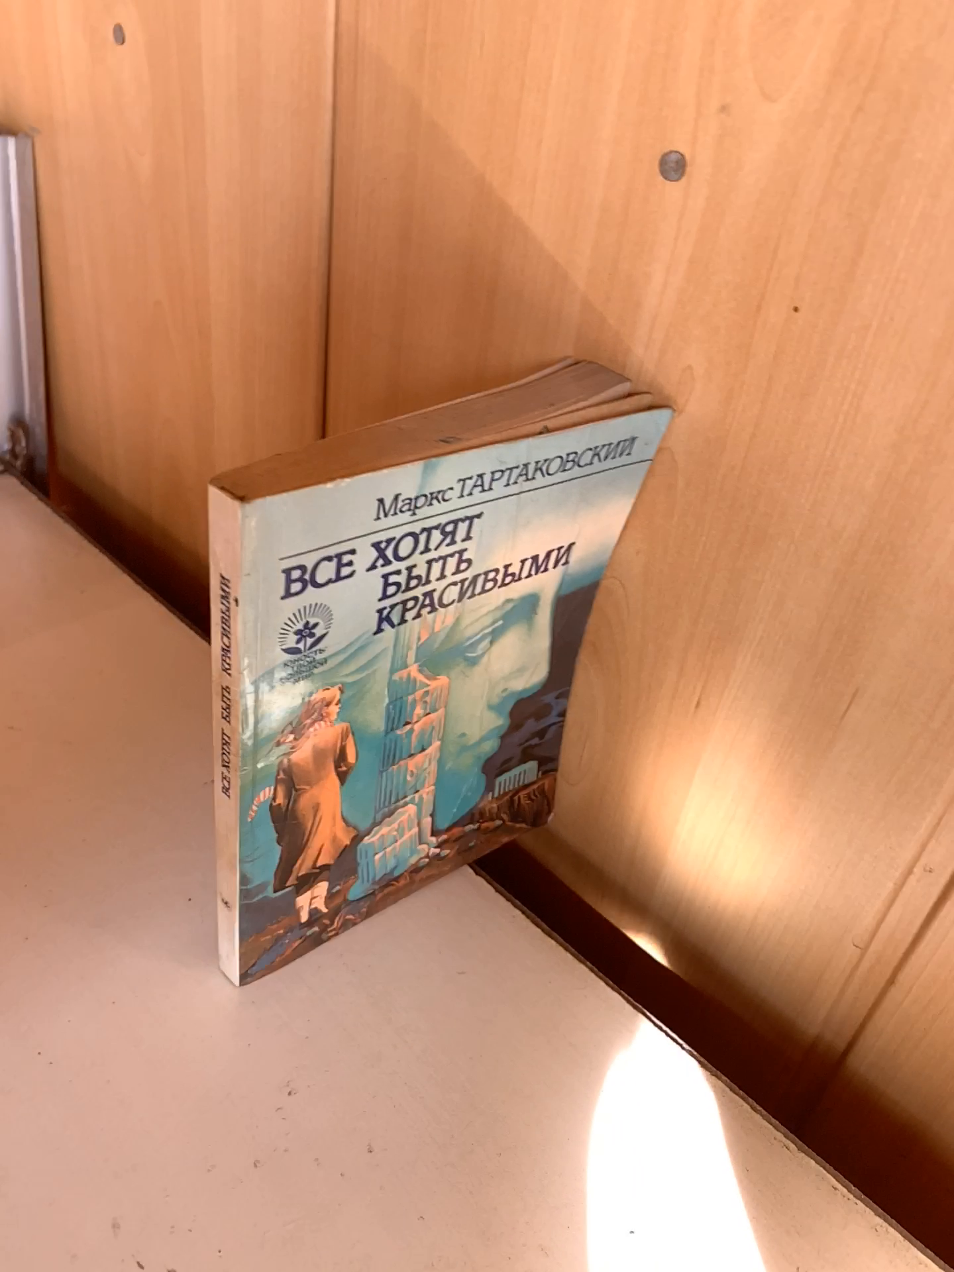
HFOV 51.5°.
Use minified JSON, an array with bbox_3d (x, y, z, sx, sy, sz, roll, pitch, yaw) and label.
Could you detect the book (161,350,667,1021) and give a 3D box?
[{"bbox_3d":[-0.017,0.014,0.269,0.125,0.158,0.029,-25,48,-37],"label":"book"}]
